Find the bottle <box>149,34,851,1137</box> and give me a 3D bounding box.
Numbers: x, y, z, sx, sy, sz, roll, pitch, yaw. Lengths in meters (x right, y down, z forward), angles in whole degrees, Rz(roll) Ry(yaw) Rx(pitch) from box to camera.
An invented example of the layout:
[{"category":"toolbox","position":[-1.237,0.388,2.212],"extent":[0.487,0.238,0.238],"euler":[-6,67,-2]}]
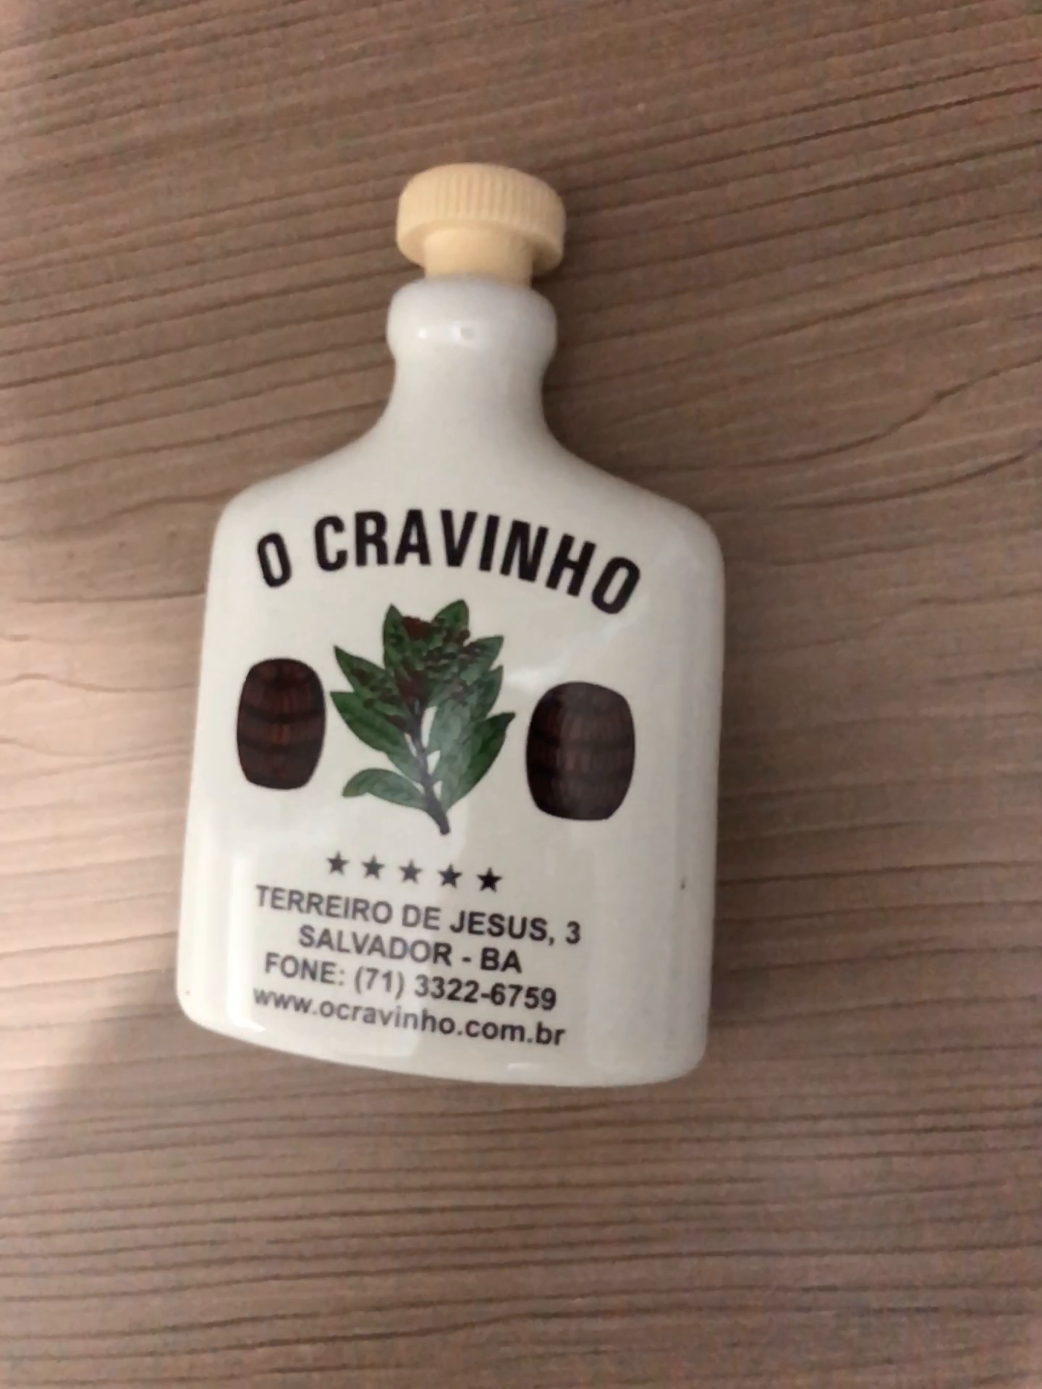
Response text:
[{"category":"bottle","position":[-0.003,-0.018,0.200],"extent":[0.100,0.040,0.160],"euler":[4,92,11]}]
